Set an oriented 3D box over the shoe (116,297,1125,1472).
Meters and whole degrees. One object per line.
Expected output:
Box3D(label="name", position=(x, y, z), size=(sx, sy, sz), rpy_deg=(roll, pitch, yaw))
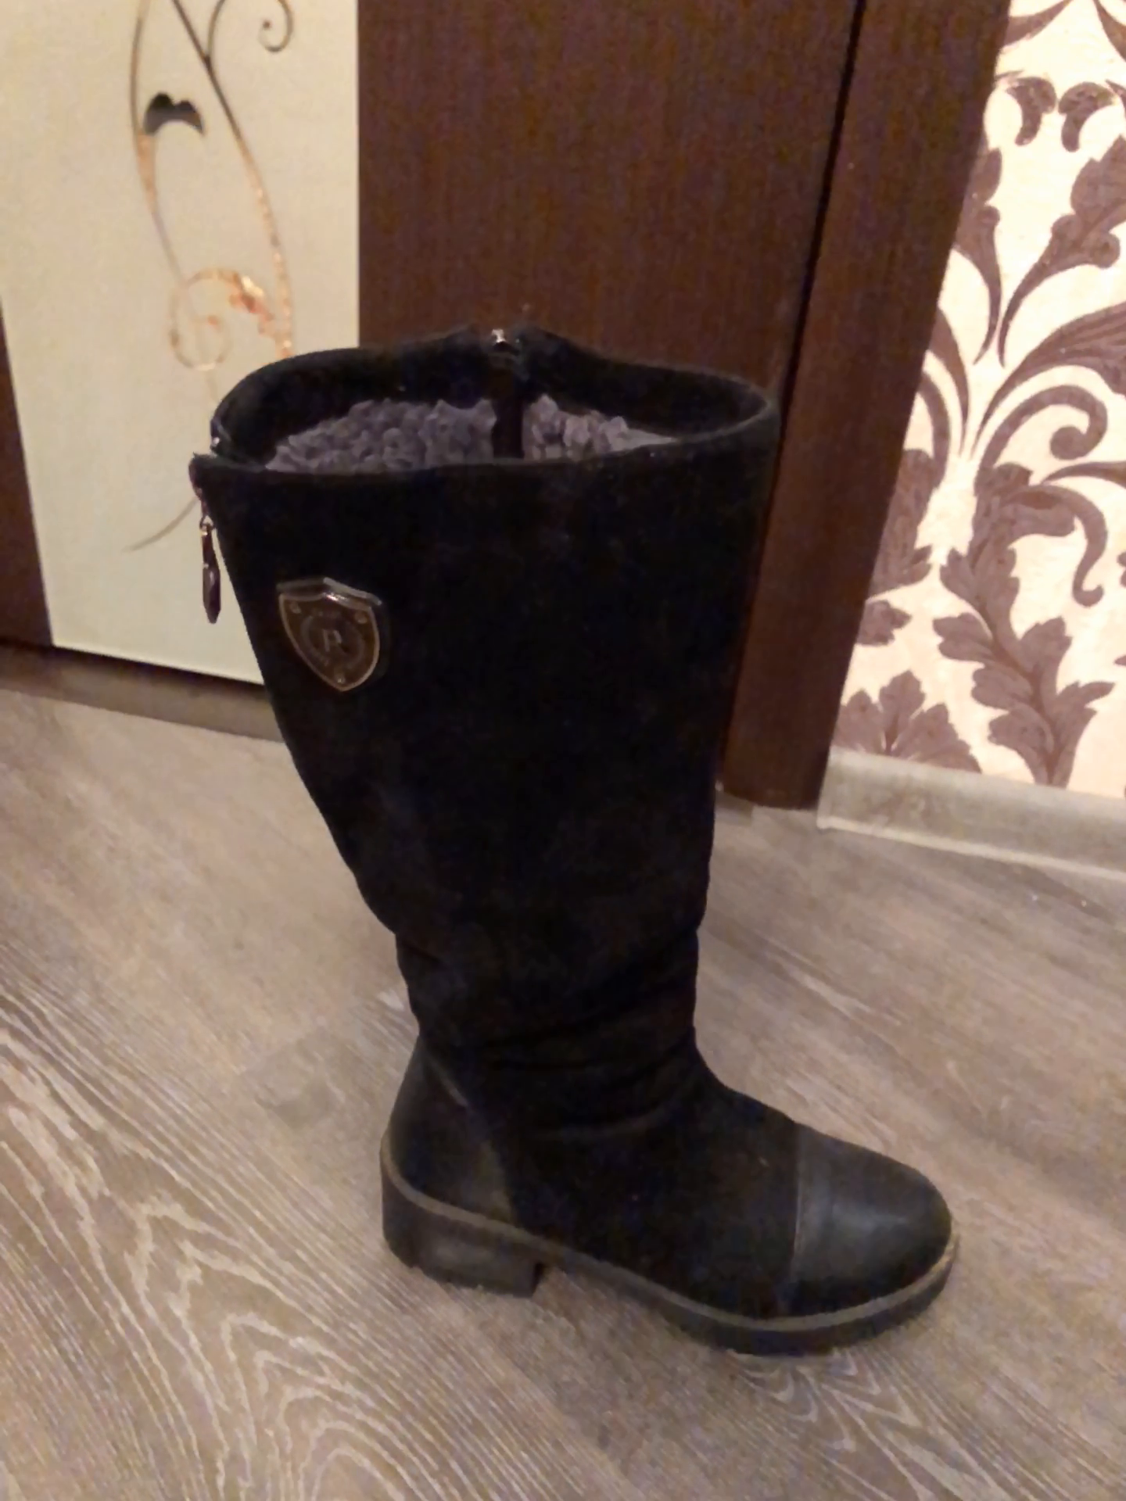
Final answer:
Box3D(label="shoe", position=(0.037, 0.063, 0.415), size=(0.290, 0.357, 0.121), rpy_deg=(7, 32, 2))
